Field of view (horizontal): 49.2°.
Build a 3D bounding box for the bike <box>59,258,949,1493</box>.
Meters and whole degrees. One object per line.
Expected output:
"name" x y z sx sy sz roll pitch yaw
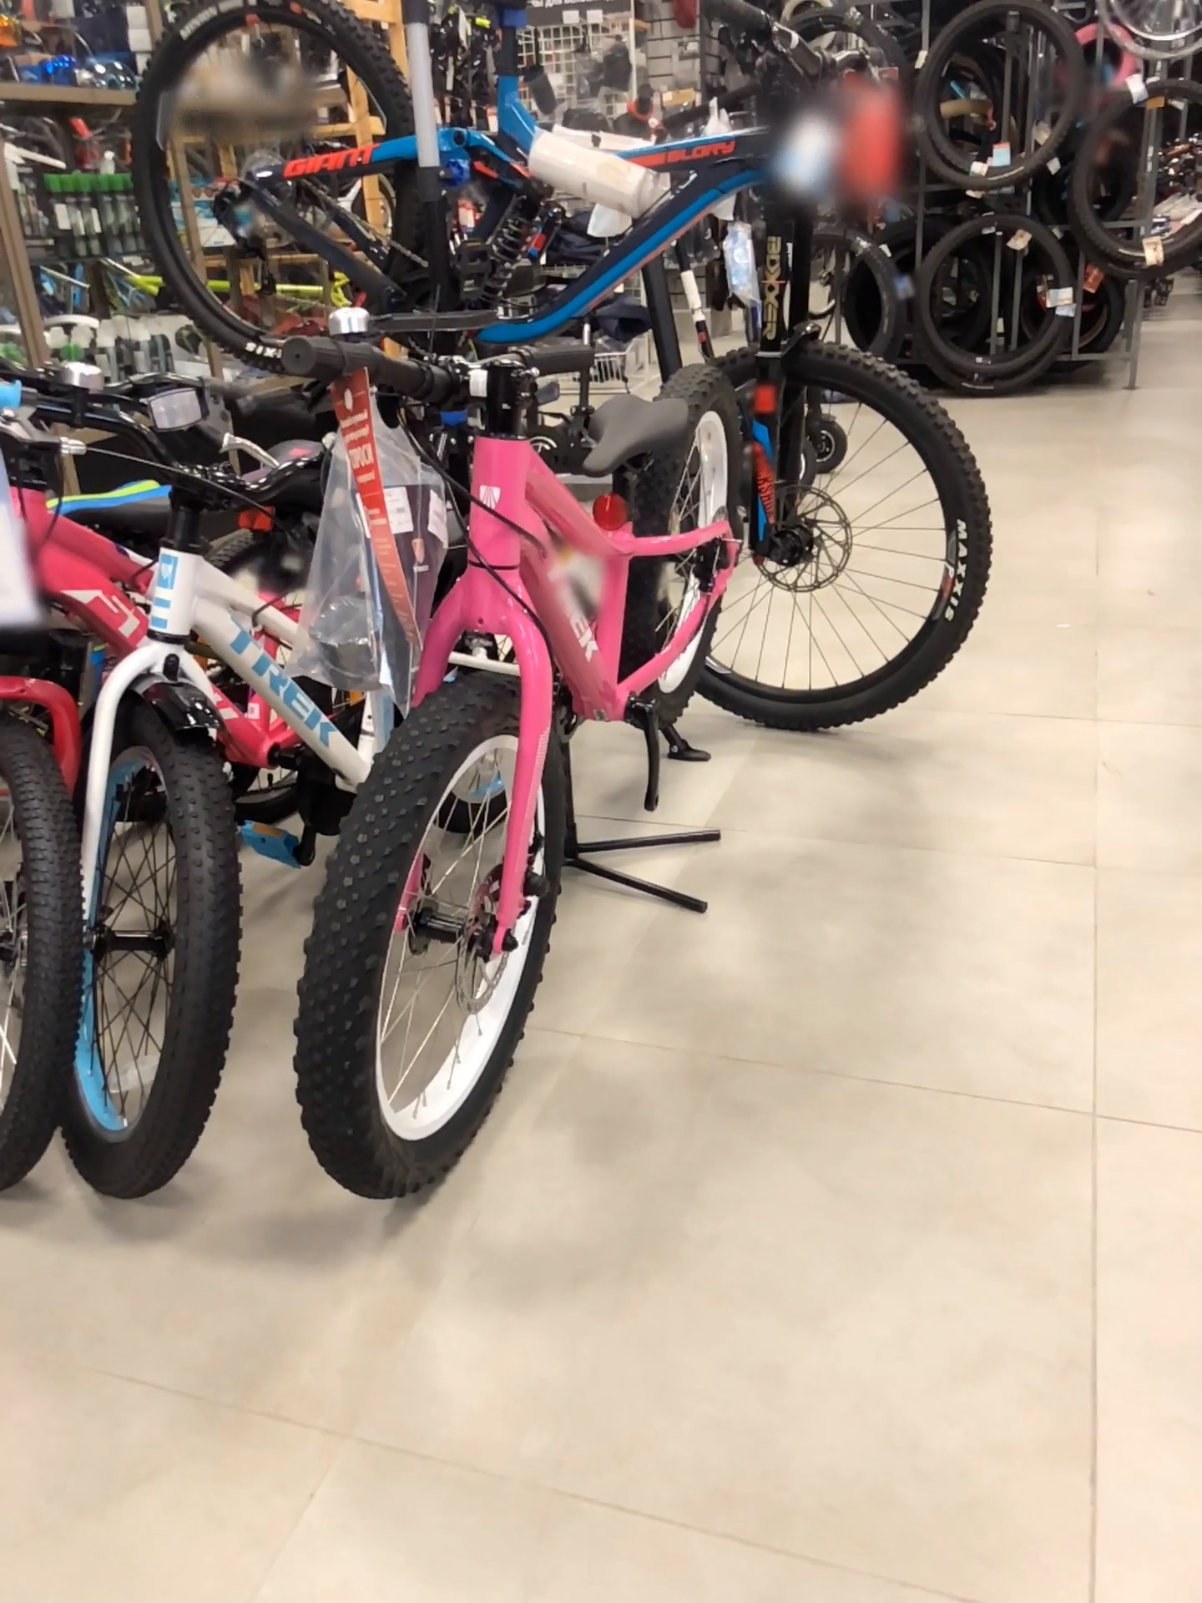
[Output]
"bike" 0.052 -0.136 1.588 0.571 0.668 1.342 5 32 19
